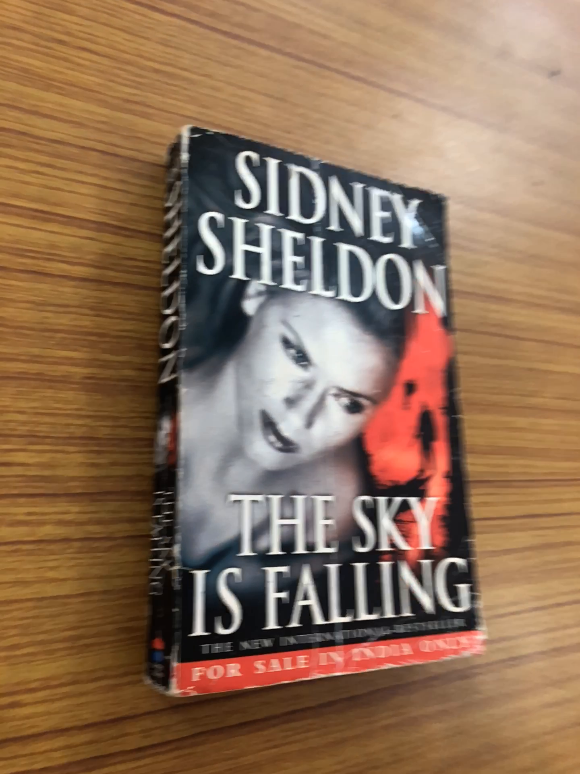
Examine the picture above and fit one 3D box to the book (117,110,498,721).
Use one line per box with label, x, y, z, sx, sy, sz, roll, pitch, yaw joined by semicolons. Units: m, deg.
book;0.010;0.008;0.221;0.120;0.030;0.170;7;76;-29
